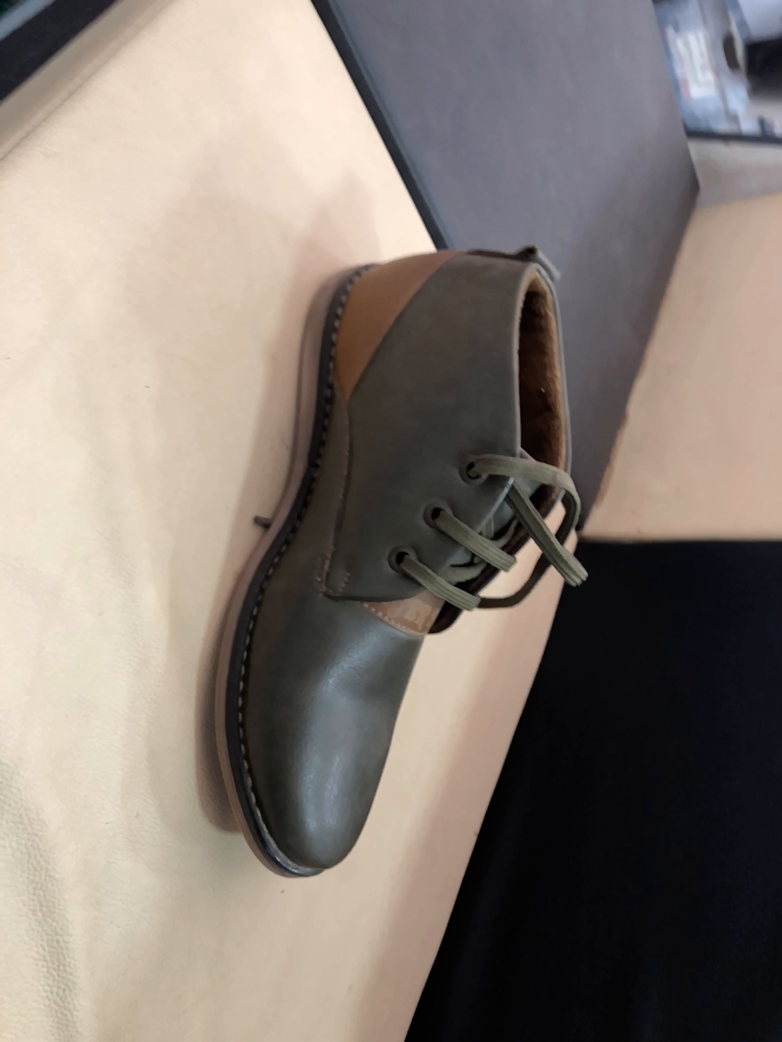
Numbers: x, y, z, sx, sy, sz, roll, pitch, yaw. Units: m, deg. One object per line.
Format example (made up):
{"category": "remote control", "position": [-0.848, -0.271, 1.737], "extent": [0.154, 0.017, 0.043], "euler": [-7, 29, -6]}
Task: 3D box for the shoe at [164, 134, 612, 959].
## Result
{"category": "shoe", "position": [0.008, 0.004, 0.345], "extent": [0.081, 0.099, 0.280], "euler": [28, 69, -52]}
